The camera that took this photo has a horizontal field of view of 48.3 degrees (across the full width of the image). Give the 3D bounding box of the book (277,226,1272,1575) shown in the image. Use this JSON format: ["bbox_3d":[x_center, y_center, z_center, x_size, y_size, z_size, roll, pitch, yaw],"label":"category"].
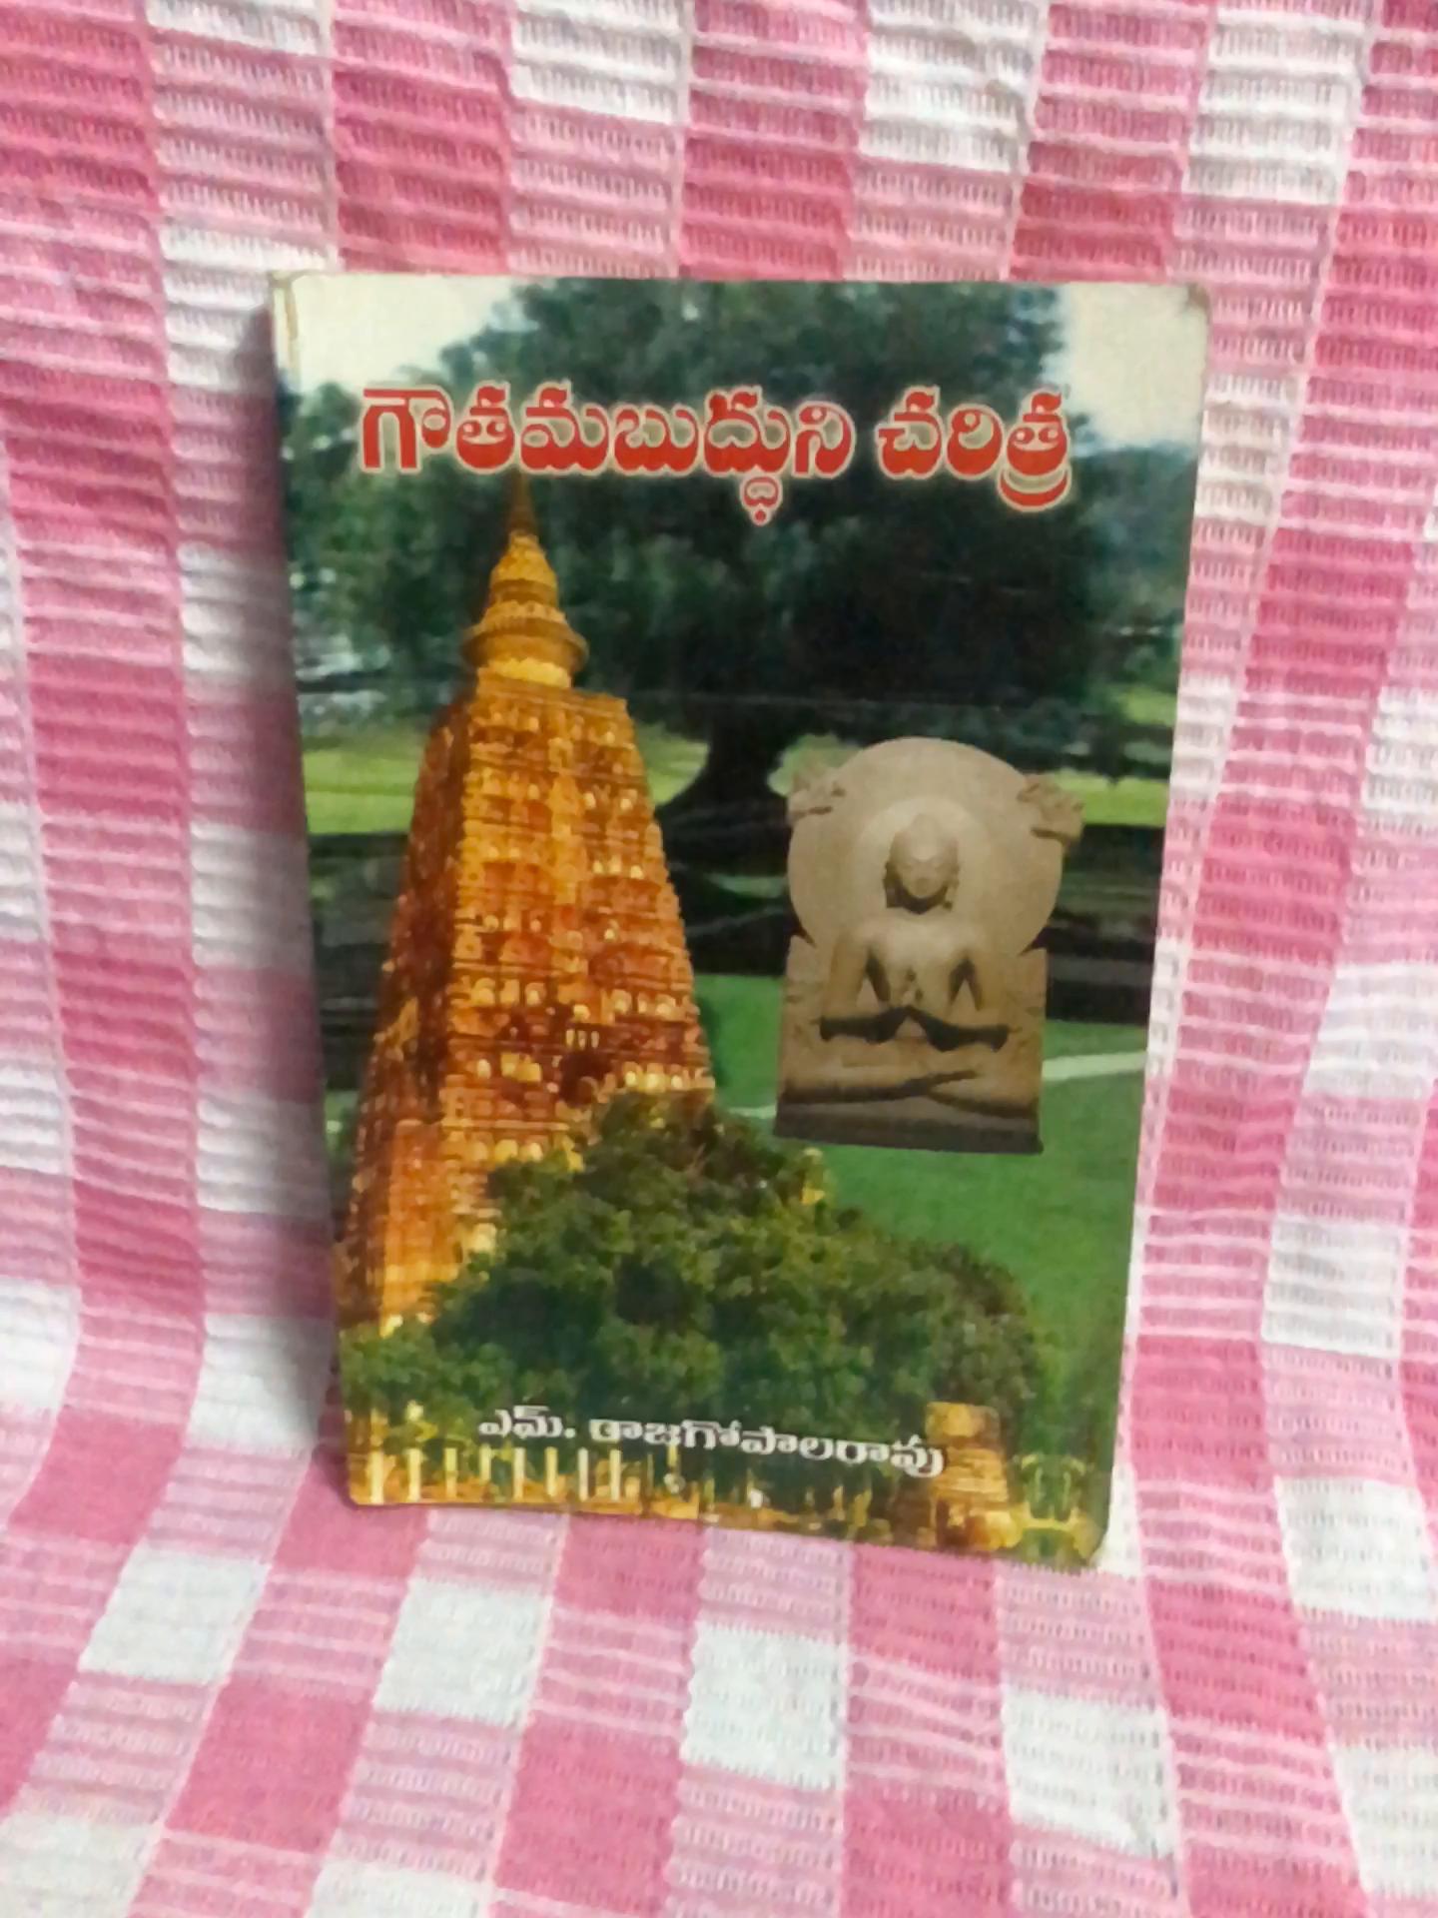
[{"bbox_3d":[0.004,-0.004,0.267,0.140,0.209,0.030,4,16,6],"label":"book"}]
